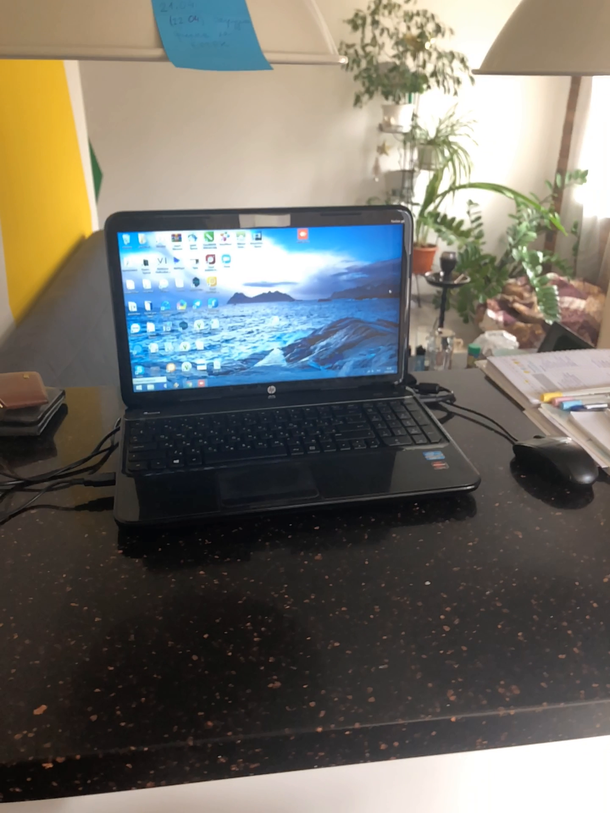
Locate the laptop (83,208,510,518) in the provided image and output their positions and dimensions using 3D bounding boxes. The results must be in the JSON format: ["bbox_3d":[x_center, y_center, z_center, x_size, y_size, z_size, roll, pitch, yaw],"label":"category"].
[{"bbox_3d":[-0.023,-0.071,0.724,0.360,0.217,0.269,-4,27,-11],"label":"laptop"}]
